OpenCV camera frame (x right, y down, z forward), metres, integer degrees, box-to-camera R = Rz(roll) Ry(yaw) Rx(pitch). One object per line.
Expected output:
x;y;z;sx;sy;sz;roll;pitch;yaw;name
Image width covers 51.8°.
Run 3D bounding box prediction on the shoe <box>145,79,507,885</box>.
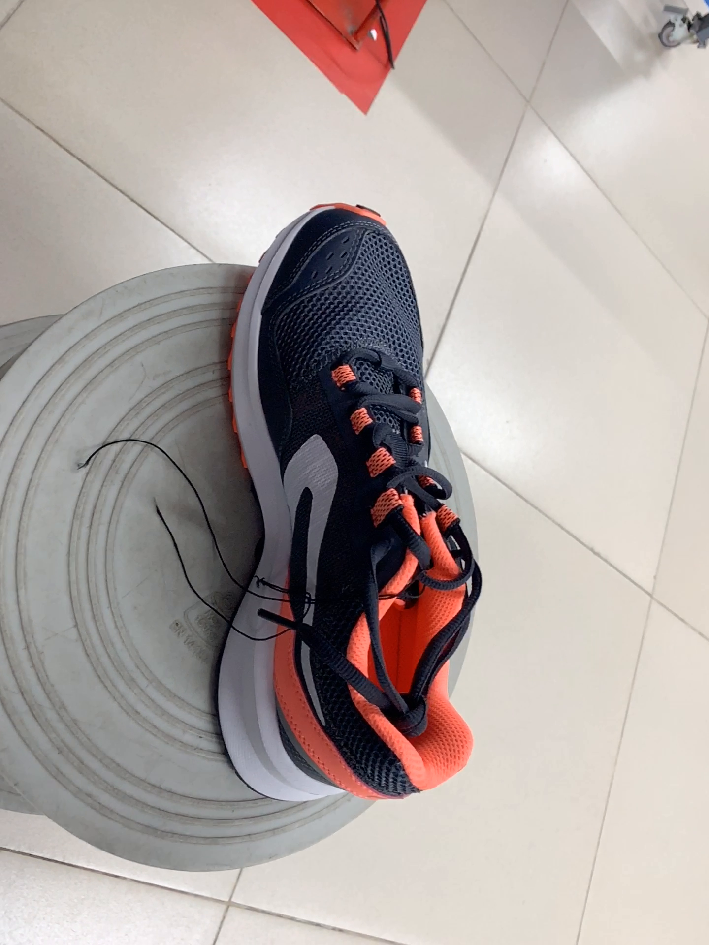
-0.013;0.003;0.337;0.100;0.119;0.290;9;80;-36;shoe
